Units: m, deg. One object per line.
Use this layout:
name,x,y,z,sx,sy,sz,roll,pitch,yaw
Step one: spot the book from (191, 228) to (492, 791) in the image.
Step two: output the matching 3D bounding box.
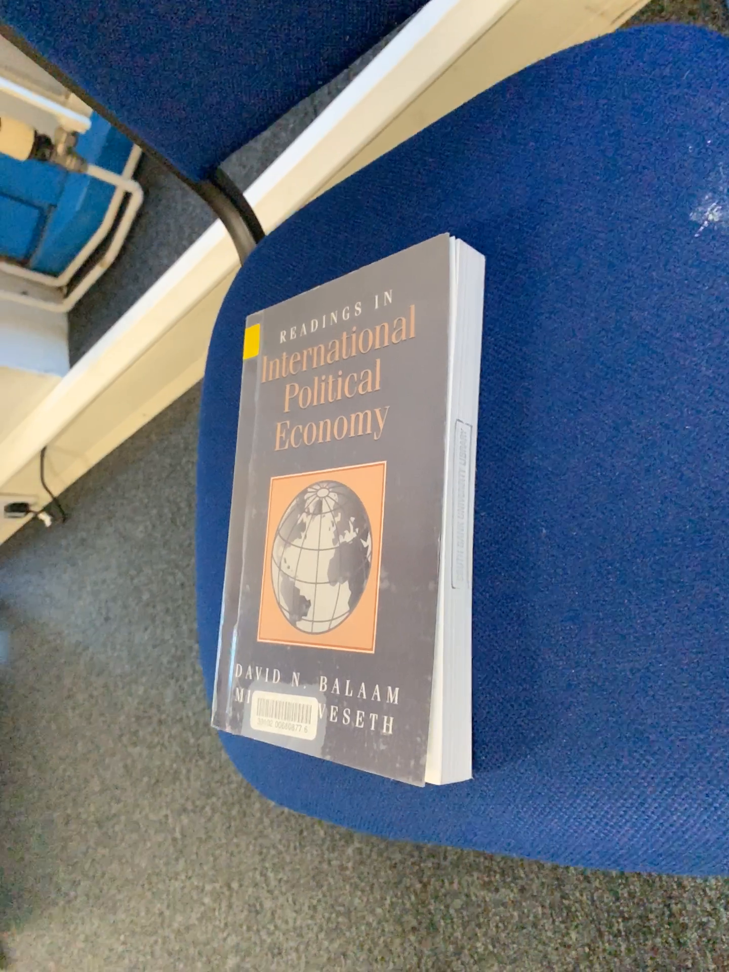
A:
book,-0.015,0.010,0.352,0.151,0.030,0.220,-7,75,44
